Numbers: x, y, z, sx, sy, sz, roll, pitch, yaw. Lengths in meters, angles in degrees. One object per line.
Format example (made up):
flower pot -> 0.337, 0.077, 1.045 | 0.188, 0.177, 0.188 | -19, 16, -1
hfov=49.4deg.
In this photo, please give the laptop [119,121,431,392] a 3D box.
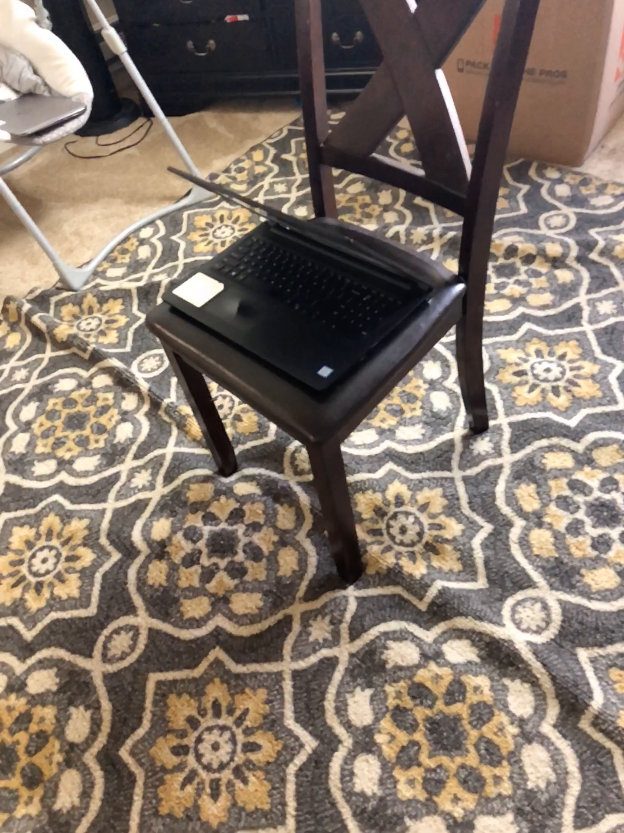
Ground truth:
laptop -> -0.049, -0.251, 1.003 | 0.367, 0.185, 0.245 | 31, 61, 31
